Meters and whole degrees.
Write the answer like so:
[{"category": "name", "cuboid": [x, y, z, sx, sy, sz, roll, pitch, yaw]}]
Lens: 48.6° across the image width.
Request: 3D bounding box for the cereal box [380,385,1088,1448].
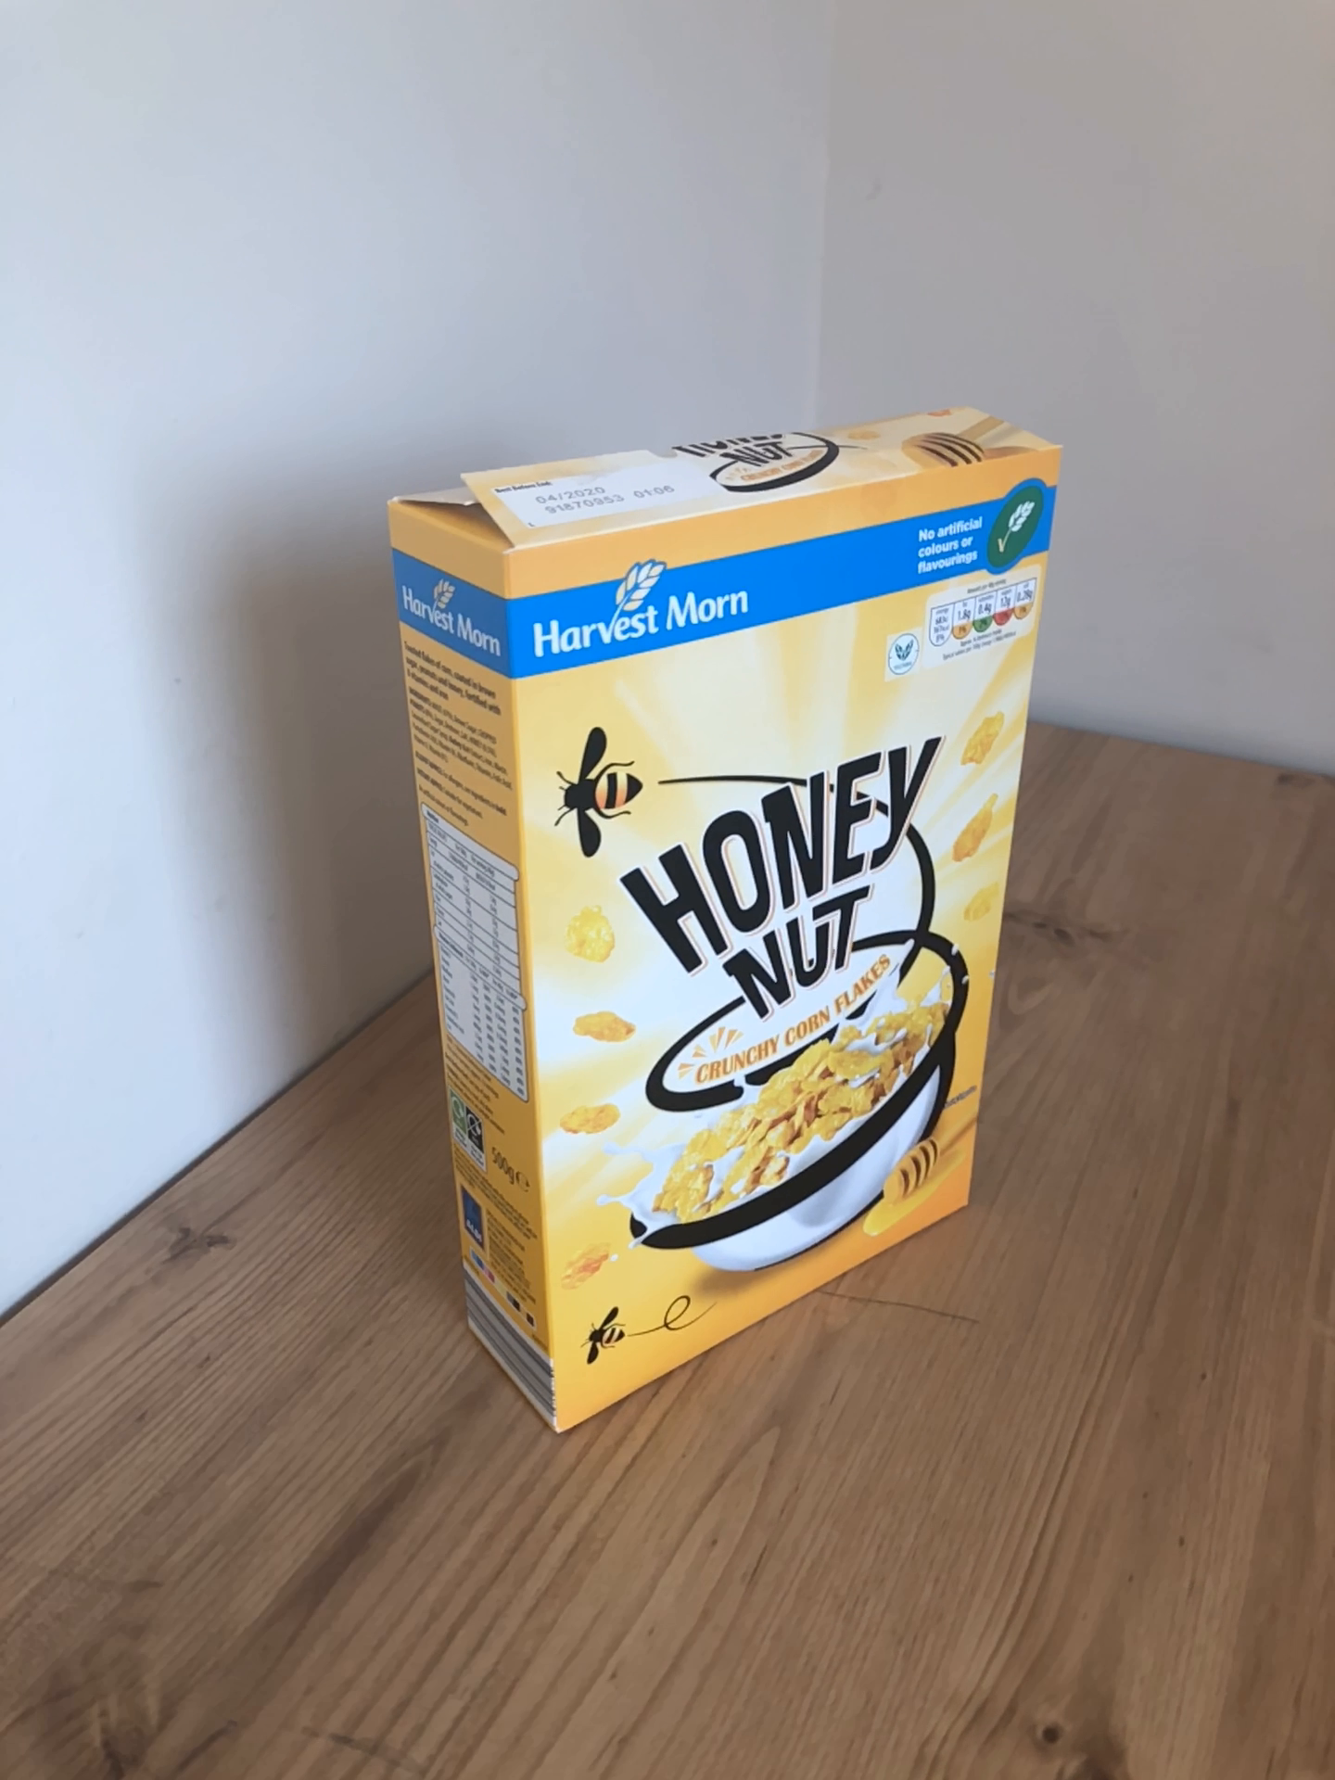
[{"category": "cereal box", "cuboid": [0.025, 0.008, 0.477, 0.201, 0.298, 0.060, -19, 34, -31]}]
